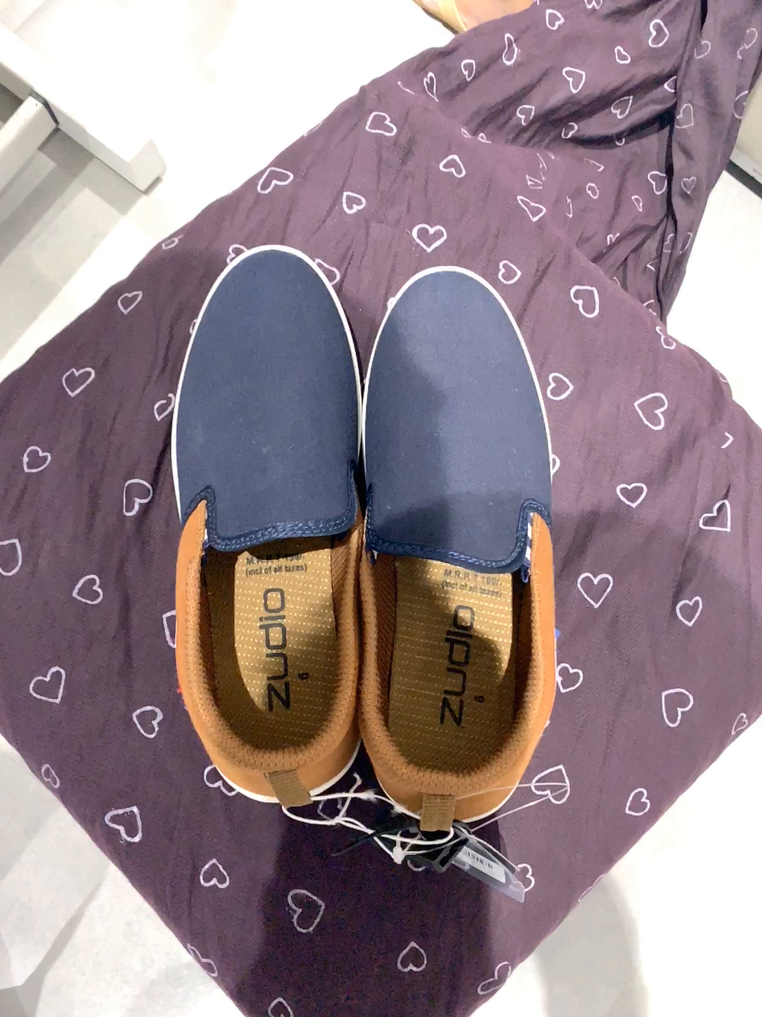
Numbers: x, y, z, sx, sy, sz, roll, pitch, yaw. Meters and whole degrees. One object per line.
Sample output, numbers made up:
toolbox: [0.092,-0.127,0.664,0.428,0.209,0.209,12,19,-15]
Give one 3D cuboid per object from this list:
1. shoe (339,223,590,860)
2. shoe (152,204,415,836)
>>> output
shoe: [0.038,0.010,0.363,0.100,0.060,0.270,3,80,-1]
shoe: [-0.046,0.000,0.366,0.100,0.060,0.270,-4,80,-2]
